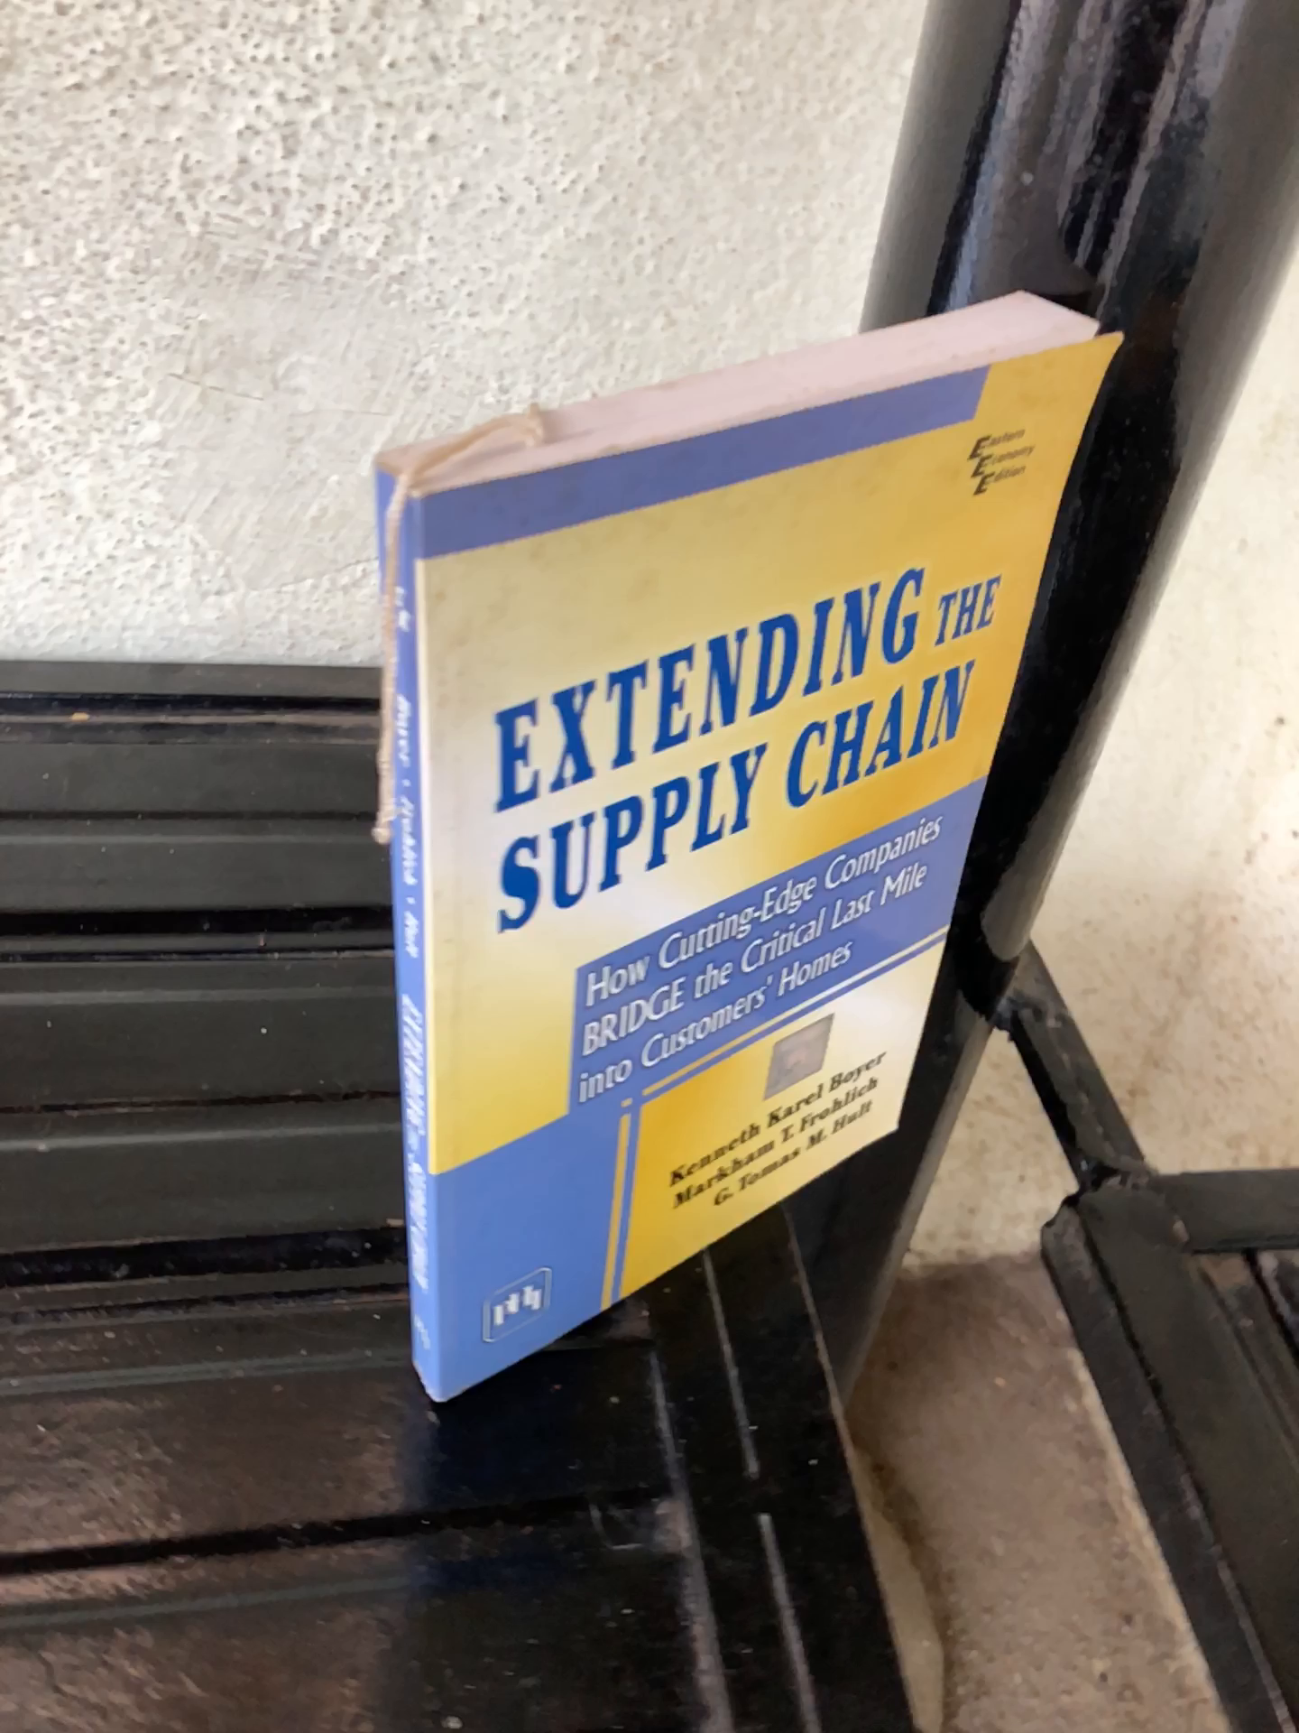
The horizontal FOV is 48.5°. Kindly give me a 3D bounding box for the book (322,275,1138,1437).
[{"bbox_3d":[0.011,0.006,0.304,0.150,0.229,0.030,-22,46,-32],"label":"book"}]
